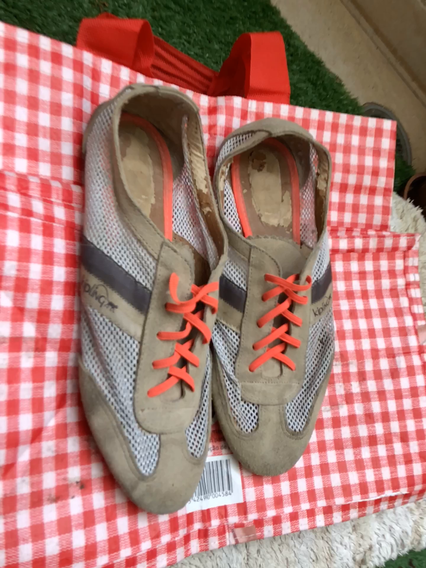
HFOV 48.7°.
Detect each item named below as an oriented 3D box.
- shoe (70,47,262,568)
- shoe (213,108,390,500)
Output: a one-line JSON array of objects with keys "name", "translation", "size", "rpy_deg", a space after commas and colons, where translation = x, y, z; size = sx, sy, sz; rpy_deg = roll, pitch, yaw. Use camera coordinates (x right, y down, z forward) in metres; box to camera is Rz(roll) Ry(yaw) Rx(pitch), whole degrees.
[{"name": "shoe", "translation": [-0.023, 0.013, 0.267], "size": [0.101, 0.050, 0.240], "rpy_deg": [0, 90, -47]}, {"name": "shoe", "translation": [0.056, 0.013, 0.313], "size": [0.100, 0.050, 0.230], "rpy_deg": [1, 91, -14]}]
